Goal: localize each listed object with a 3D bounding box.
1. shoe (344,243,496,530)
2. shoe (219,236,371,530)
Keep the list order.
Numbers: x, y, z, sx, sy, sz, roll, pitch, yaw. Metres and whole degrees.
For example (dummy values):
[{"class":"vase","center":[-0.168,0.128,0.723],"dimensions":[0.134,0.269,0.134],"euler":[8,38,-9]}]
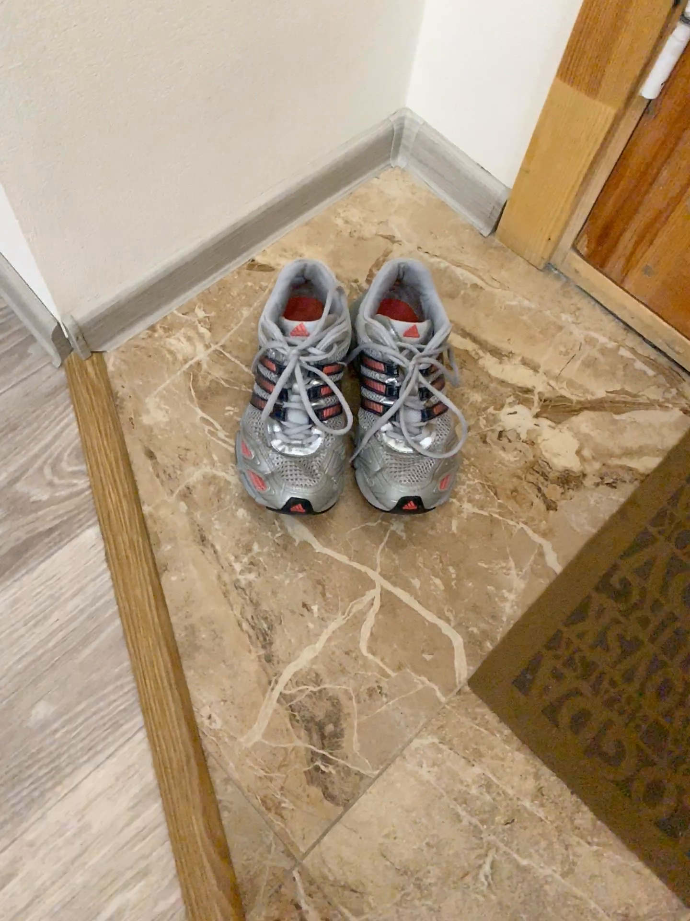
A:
[{"class":"shoe","center":[0.060,-0.069,0.638],"dimensions":[0.110,0.090,0.241],"euler":[3,64,-4]},{"class":"shoe","center":[-0.039,-0.070,0.626],"dimensions":[0.110,0.090,0.241],"euler":[4,63,-4]}]
